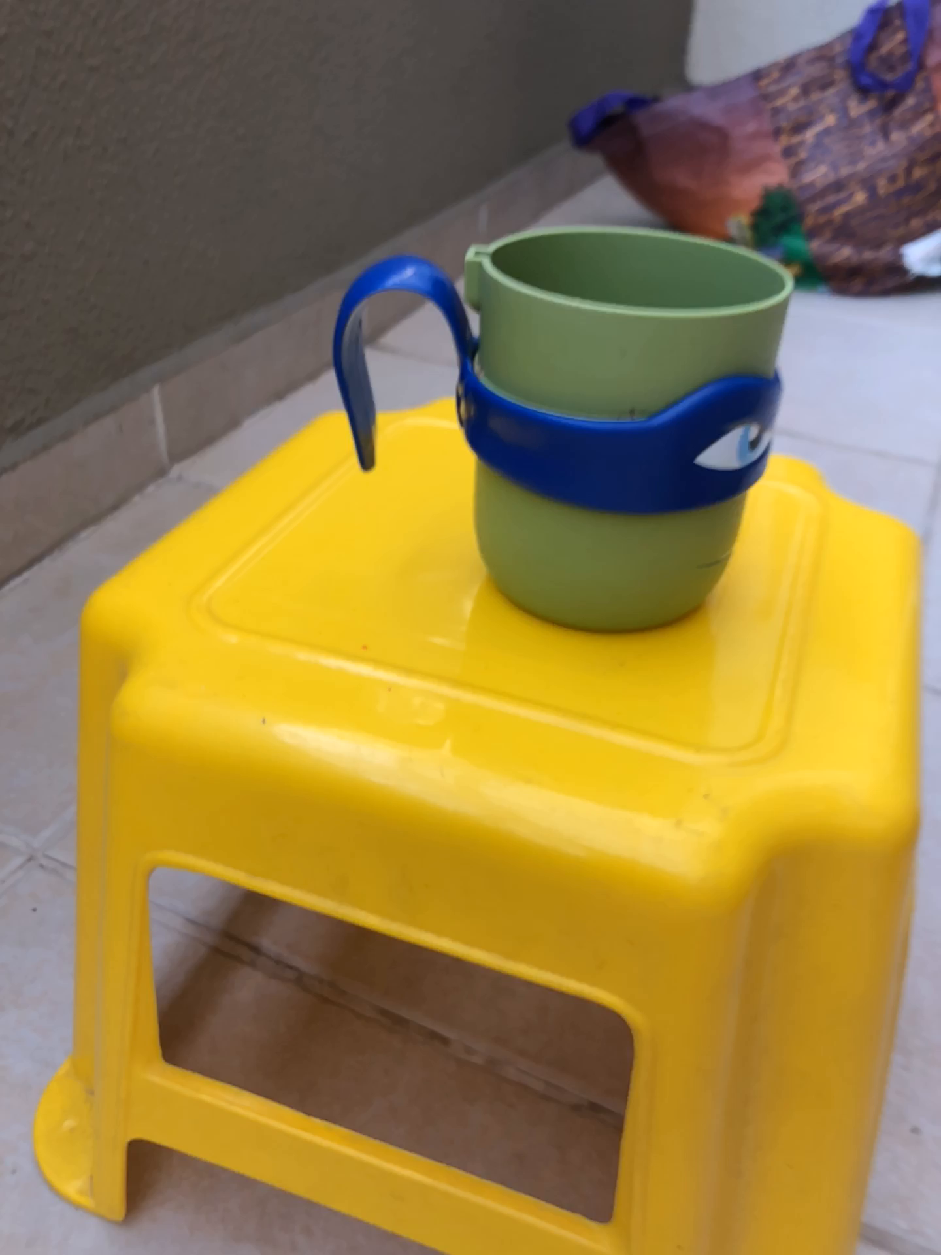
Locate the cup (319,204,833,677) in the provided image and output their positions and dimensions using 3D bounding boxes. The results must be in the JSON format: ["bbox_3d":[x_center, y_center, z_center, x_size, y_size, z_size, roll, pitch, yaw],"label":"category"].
[{"bbox_3d":[0.026,-0.053,0.283,0.110,0.089,0.081,7,35,7],"label":"cup"}]
